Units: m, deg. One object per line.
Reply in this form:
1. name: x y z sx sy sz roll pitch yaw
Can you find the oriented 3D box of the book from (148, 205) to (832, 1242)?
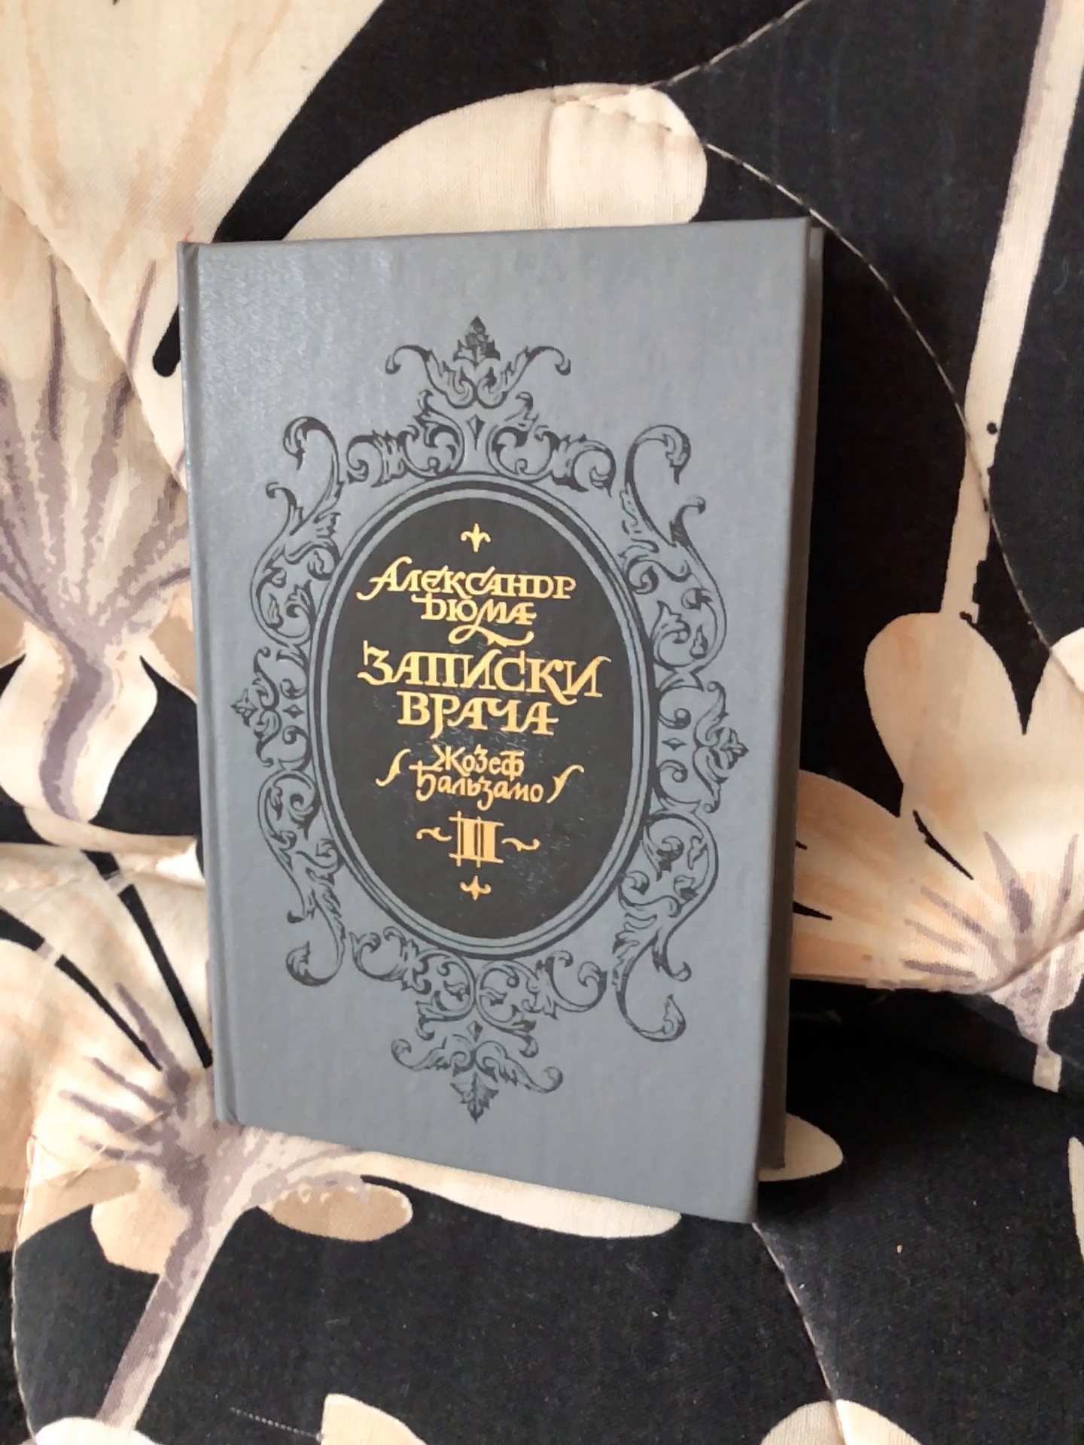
1. book: -0.015 0.001 0.273 0.140 0.030 0.210 5 102 16
